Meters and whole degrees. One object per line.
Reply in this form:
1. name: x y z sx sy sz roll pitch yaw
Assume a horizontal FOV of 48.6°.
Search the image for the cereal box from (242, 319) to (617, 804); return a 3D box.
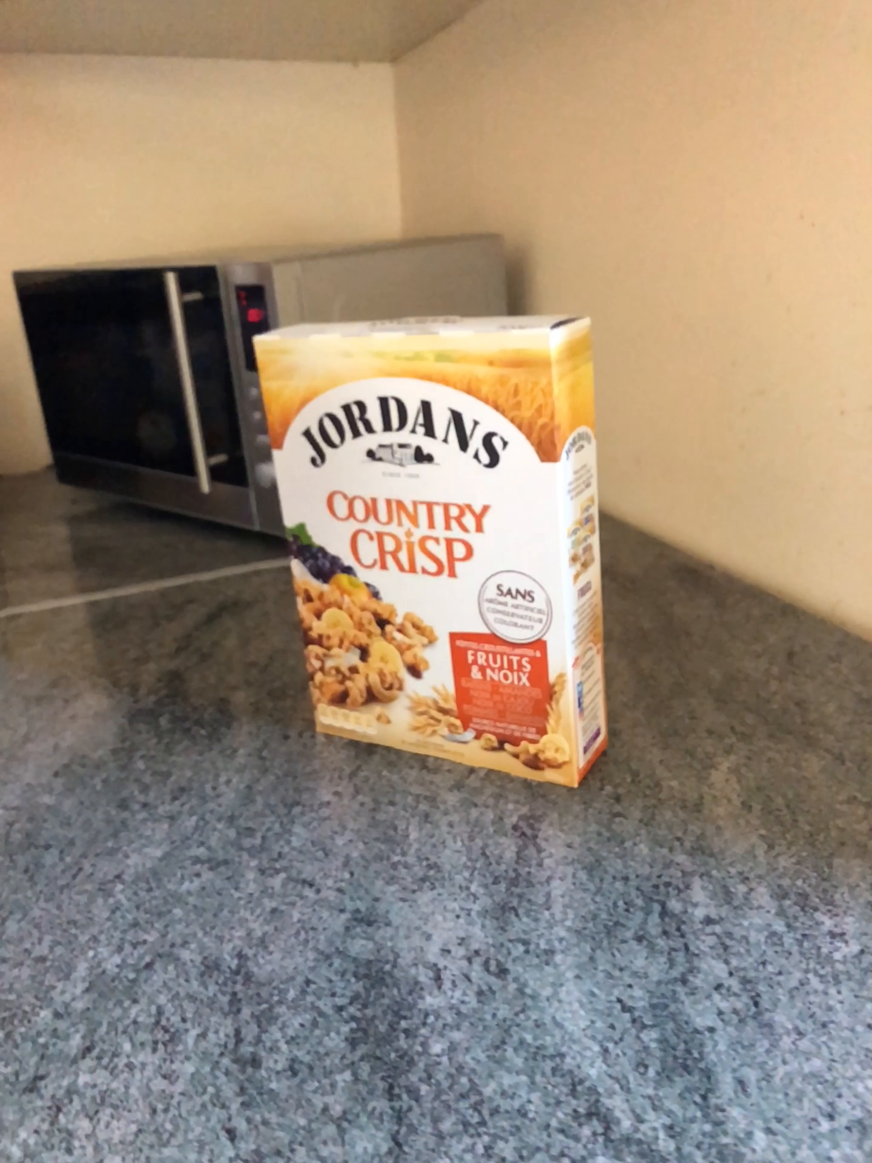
1. cereal box: 0.001 -0.017 0.549 0.190 0.249 0.060 7 24 27
